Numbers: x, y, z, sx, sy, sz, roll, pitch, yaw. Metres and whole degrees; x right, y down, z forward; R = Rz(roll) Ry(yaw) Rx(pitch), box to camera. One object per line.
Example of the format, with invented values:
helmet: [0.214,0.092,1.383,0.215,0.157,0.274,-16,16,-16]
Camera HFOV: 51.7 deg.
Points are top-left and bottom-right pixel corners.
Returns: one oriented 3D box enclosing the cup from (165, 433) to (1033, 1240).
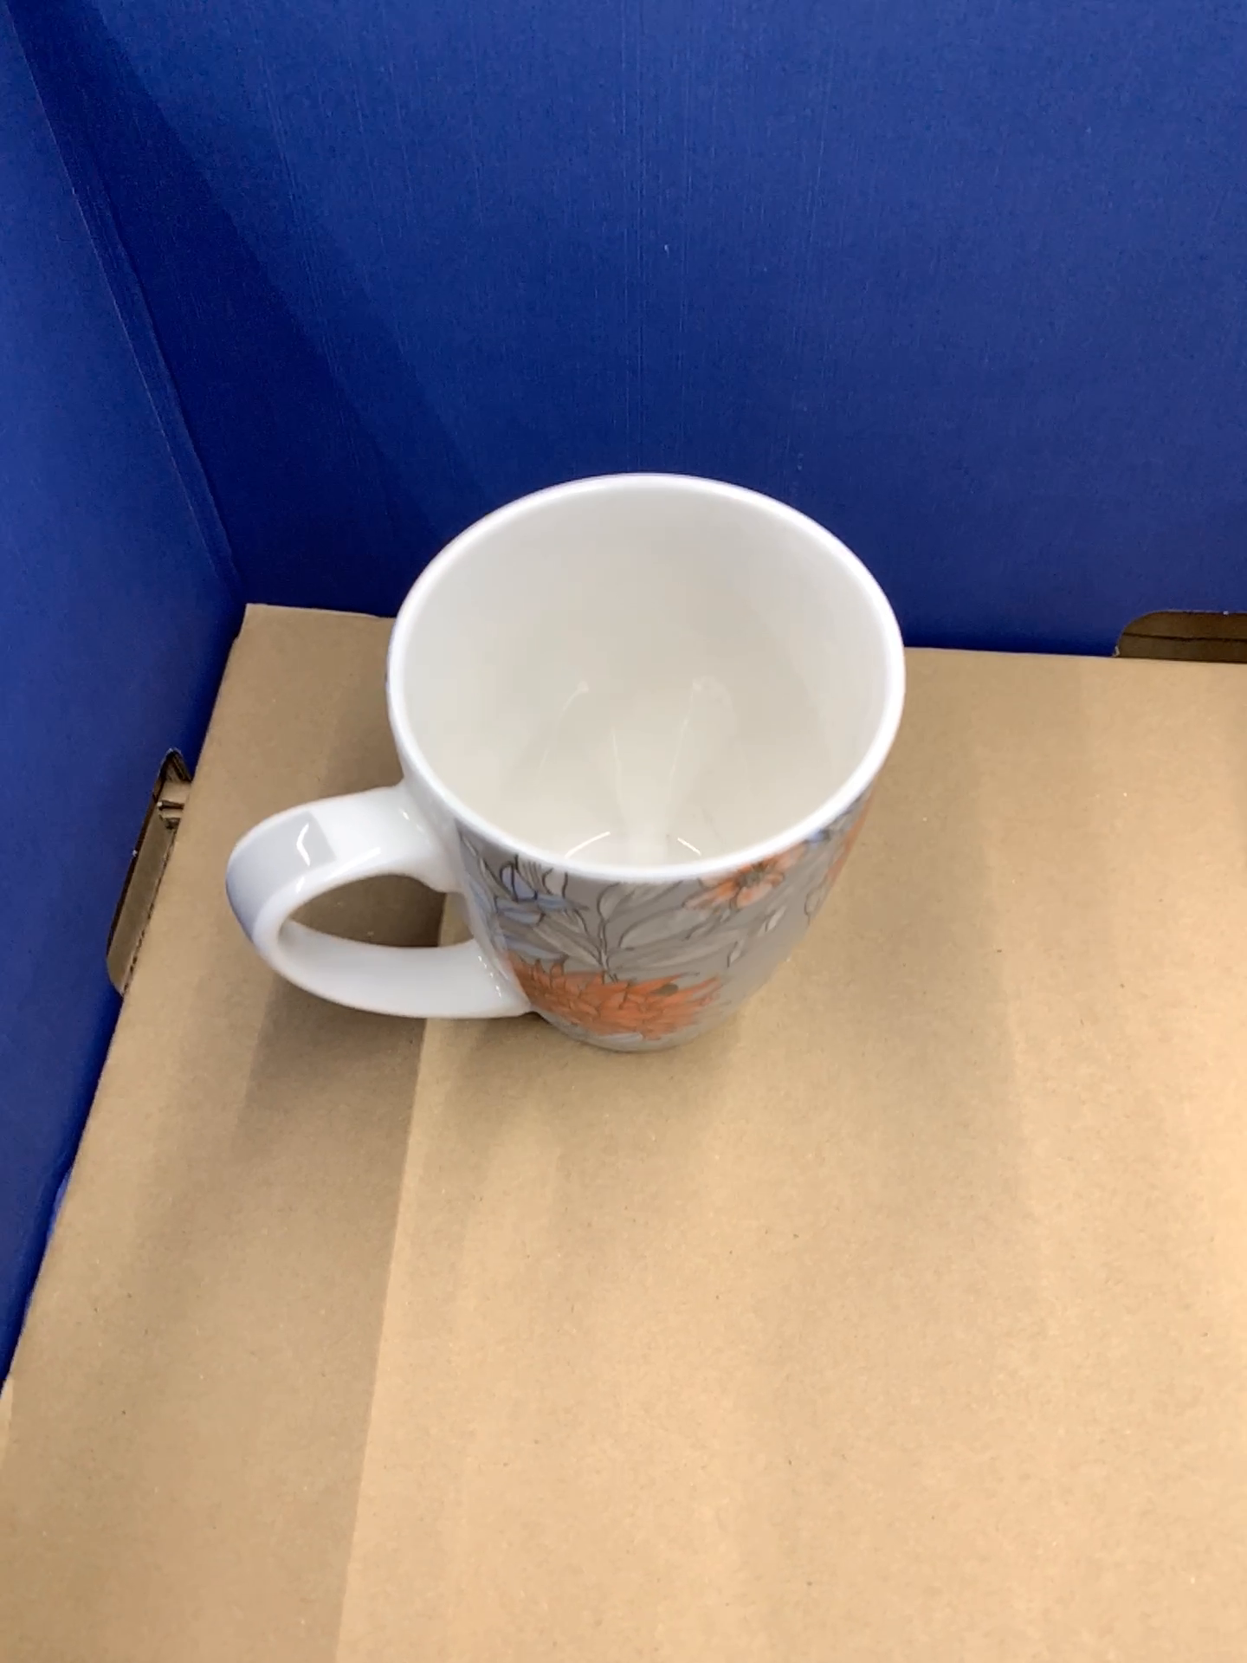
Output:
cup: [-0.008,0.001,0.244,0.117,0.085,0.092,-17,56,-11]
